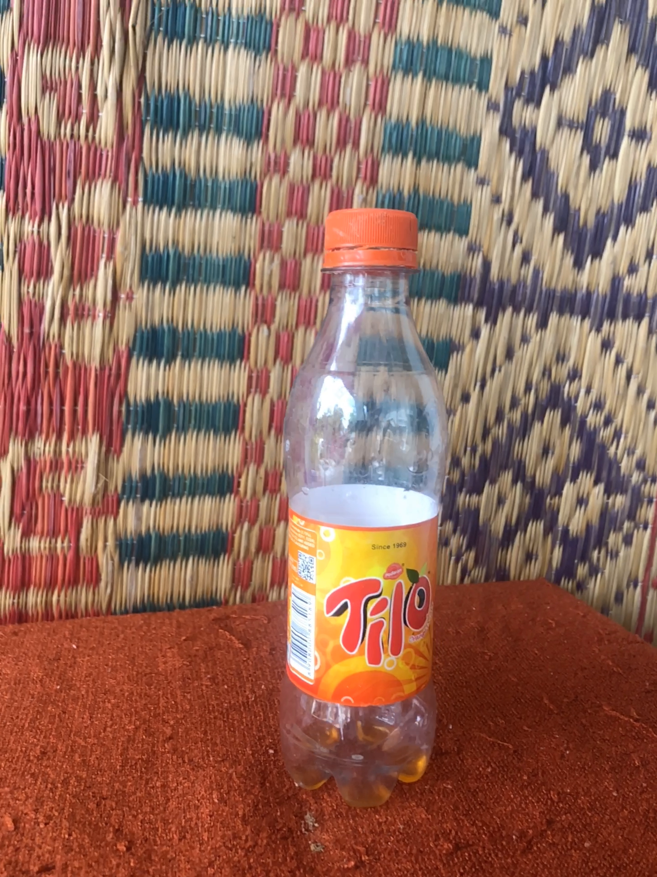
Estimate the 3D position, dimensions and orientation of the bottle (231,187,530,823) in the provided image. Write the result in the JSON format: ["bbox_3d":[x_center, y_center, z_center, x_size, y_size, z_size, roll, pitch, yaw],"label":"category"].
[{"bbox_3d":[0.010,0.022,0.242,0.070,0.189,0.050,1,13,-16],"label":"bottle"}]
